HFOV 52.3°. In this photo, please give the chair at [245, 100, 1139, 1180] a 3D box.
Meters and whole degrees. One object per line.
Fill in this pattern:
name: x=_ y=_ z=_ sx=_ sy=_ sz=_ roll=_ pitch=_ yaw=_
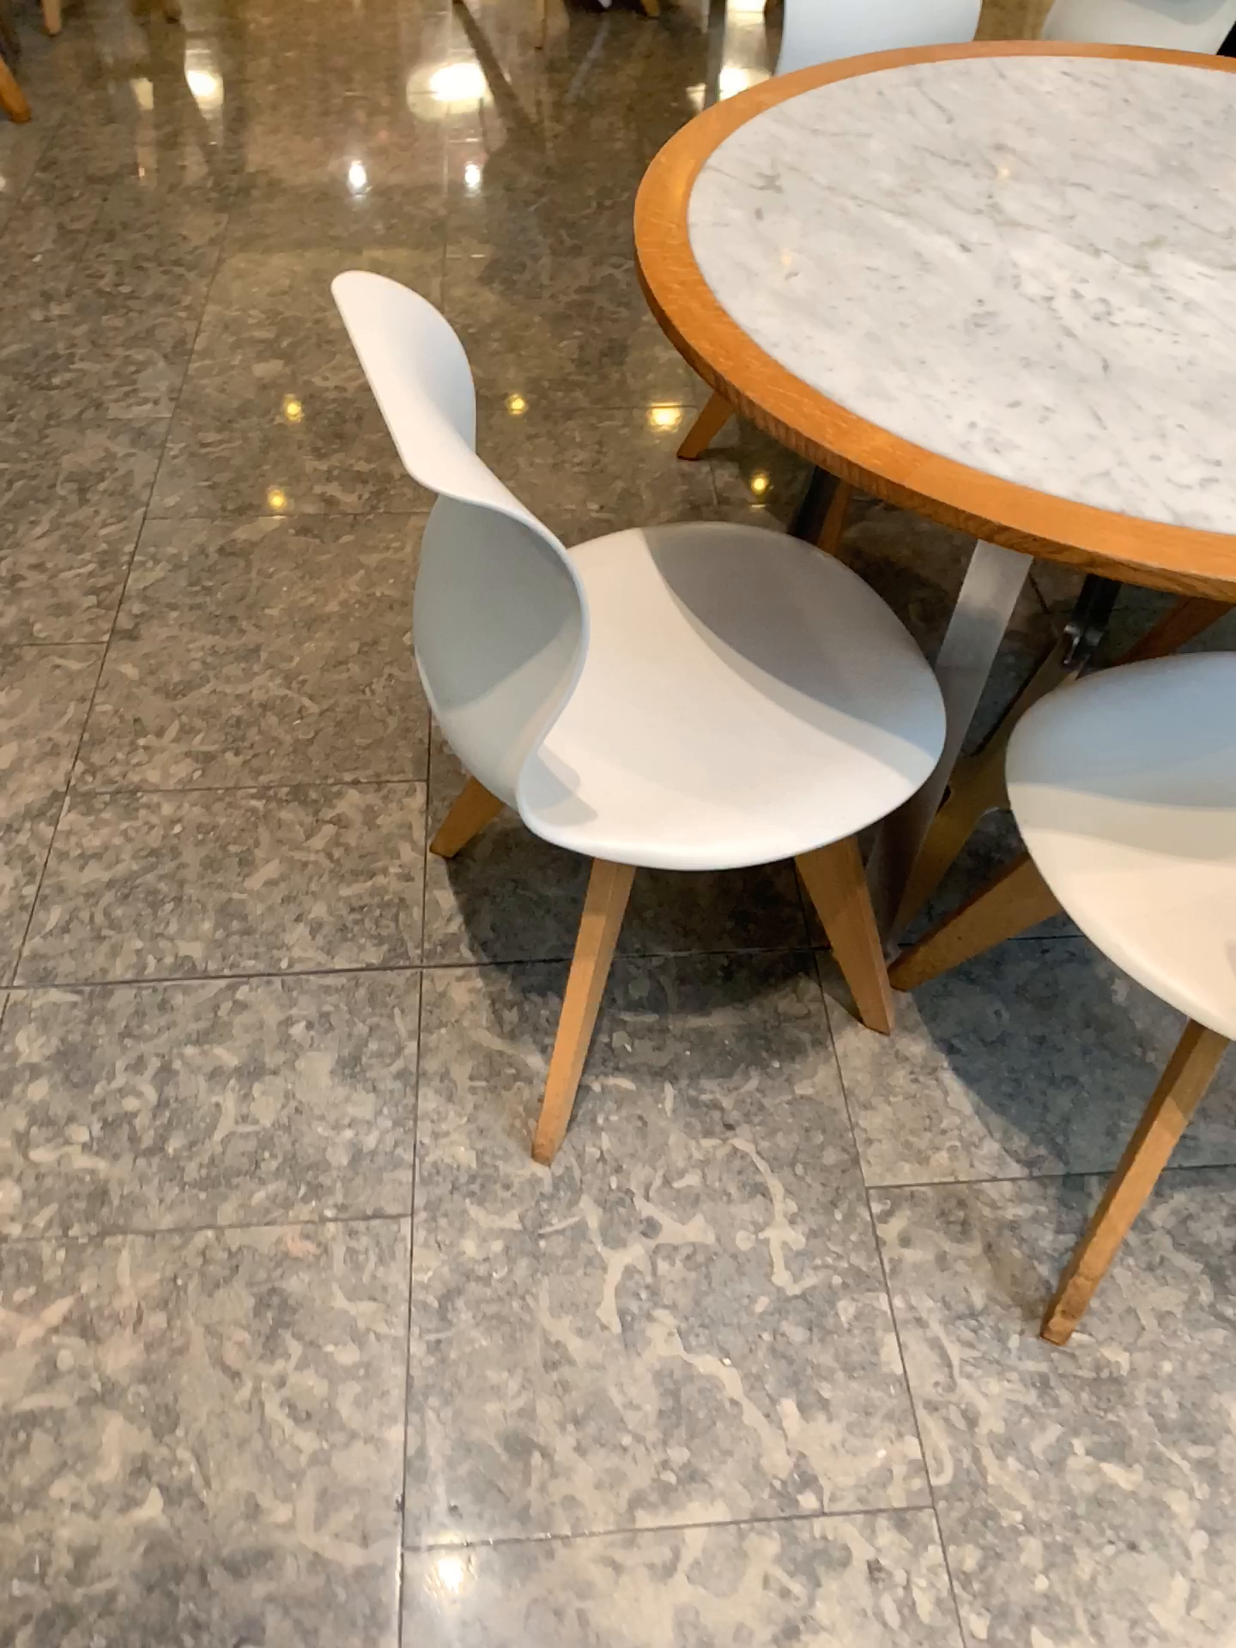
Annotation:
chair: x=0.015 y=-0.138 z=1.314 sx=0.540 sy=0.912 sz=0.504 roll=-15 pitch=51 yaw=-14
